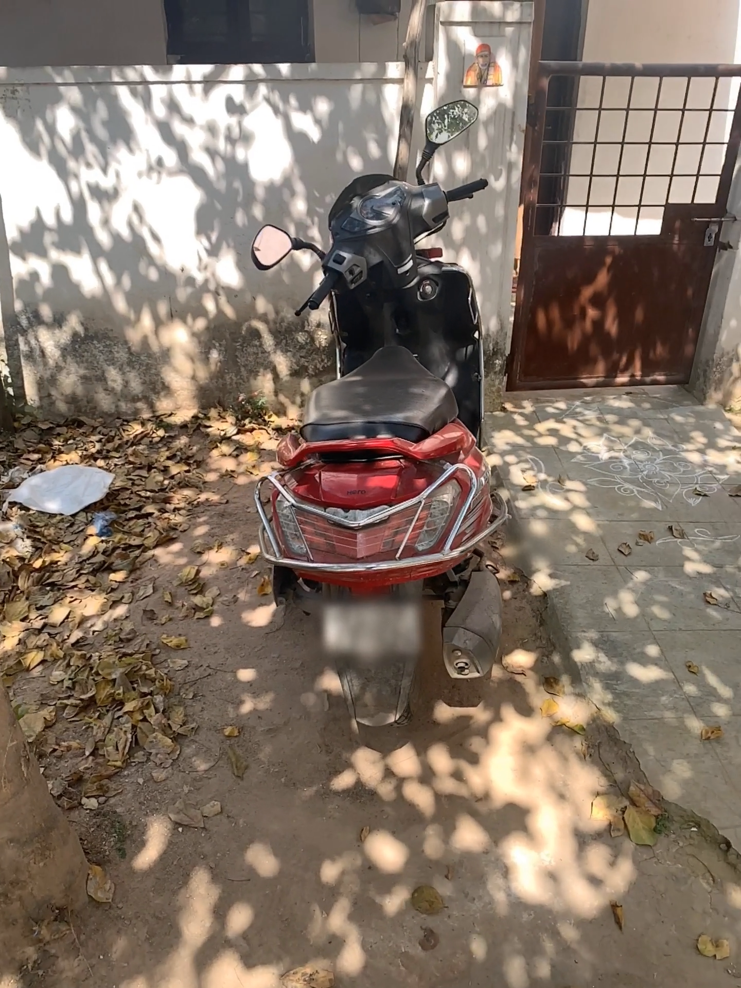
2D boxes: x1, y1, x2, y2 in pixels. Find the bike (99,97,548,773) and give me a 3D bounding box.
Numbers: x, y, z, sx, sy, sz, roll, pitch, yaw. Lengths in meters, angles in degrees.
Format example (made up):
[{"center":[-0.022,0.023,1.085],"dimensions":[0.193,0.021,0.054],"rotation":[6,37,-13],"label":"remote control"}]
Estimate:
[{"center":[-0.149,-0.383,2.229],"dimensions":[0.735,1.155,1.769],"rotation":[-2,33,-3],"label":"bike"}]
